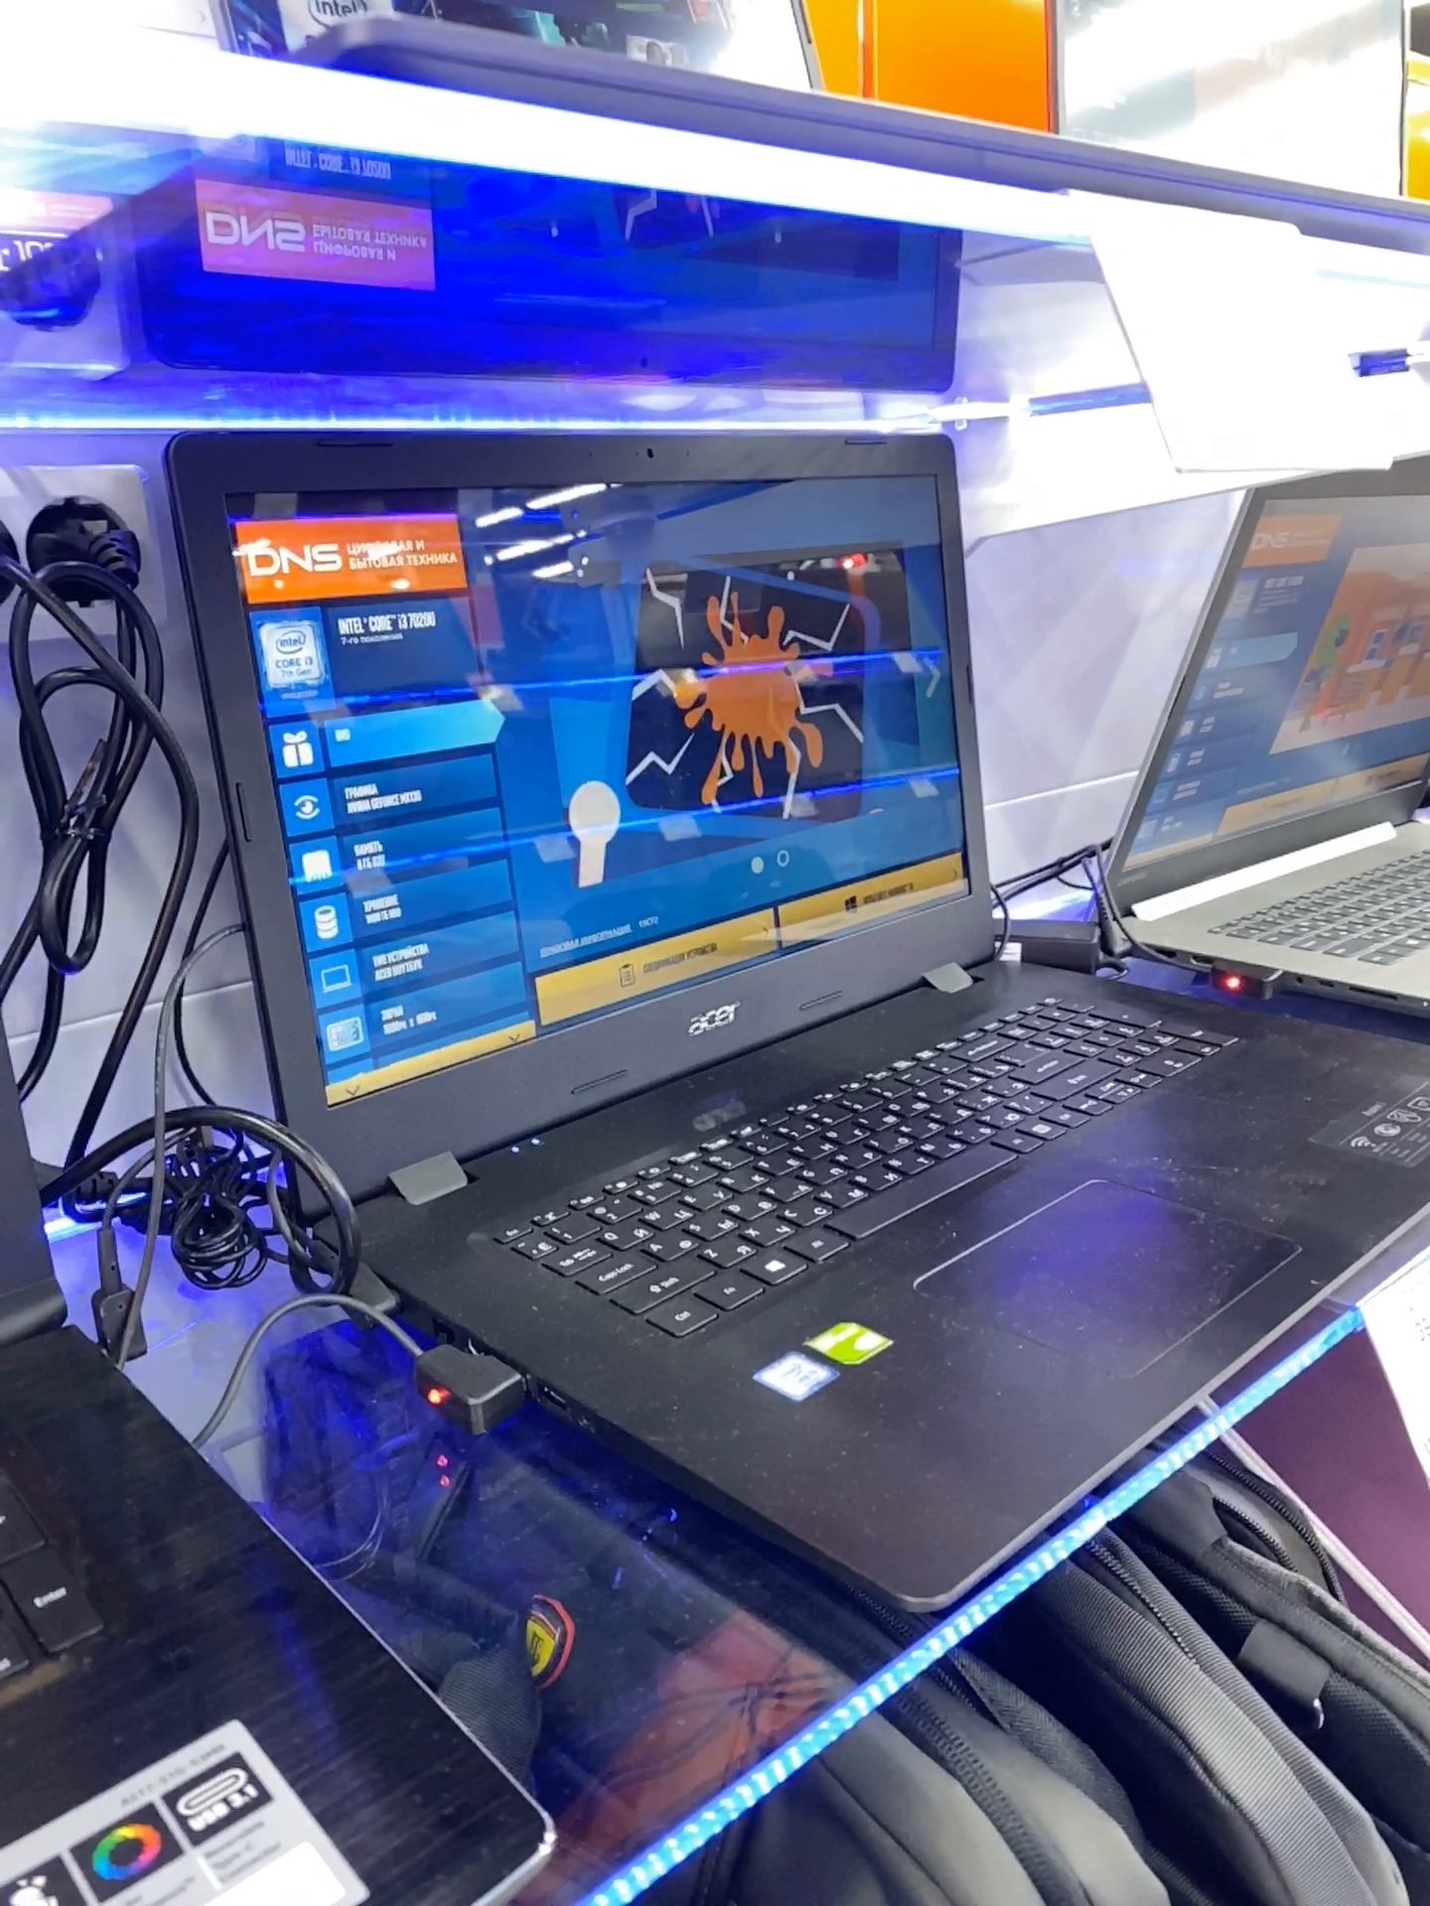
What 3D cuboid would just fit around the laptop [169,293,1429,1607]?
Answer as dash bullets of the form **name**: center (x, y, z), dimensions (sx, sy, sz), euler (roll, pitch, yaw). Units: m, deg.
- **laptop**: center (0.089, -0.060, 0.546), dimensions (0.422, 0.273, 0.327), euler (-16, 20, -40)
